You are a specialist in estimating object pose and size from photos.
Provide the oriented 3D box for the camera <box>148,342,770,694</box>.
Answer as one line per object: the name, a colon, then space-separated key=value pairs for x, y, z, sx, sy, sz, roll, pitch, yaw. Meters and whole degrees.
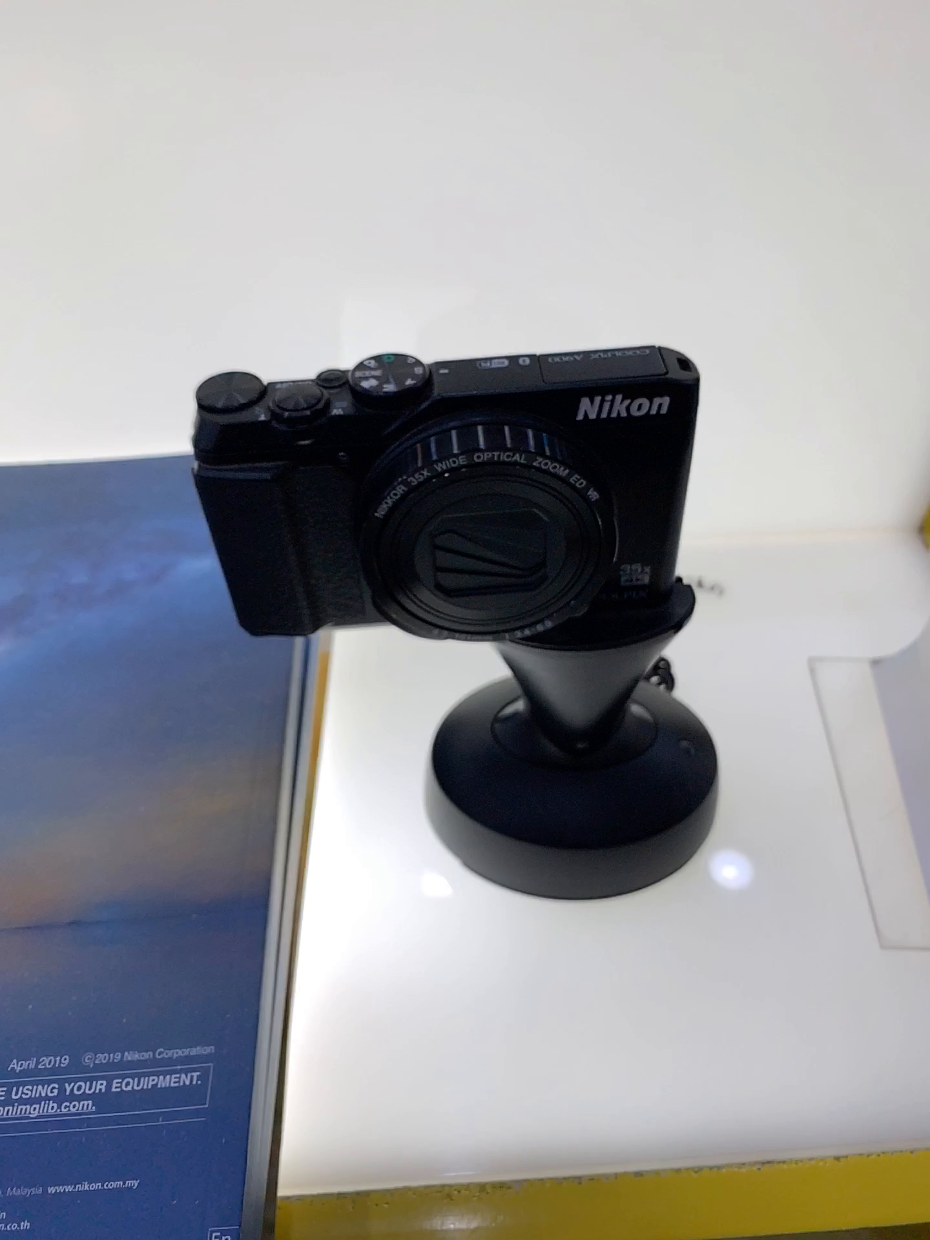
camera: x=-0.002 y=-0.023 z=0.223 sx=0.120 sy=0.060 sz=0.040 roll=-4 pitch=45 yaw=-3
